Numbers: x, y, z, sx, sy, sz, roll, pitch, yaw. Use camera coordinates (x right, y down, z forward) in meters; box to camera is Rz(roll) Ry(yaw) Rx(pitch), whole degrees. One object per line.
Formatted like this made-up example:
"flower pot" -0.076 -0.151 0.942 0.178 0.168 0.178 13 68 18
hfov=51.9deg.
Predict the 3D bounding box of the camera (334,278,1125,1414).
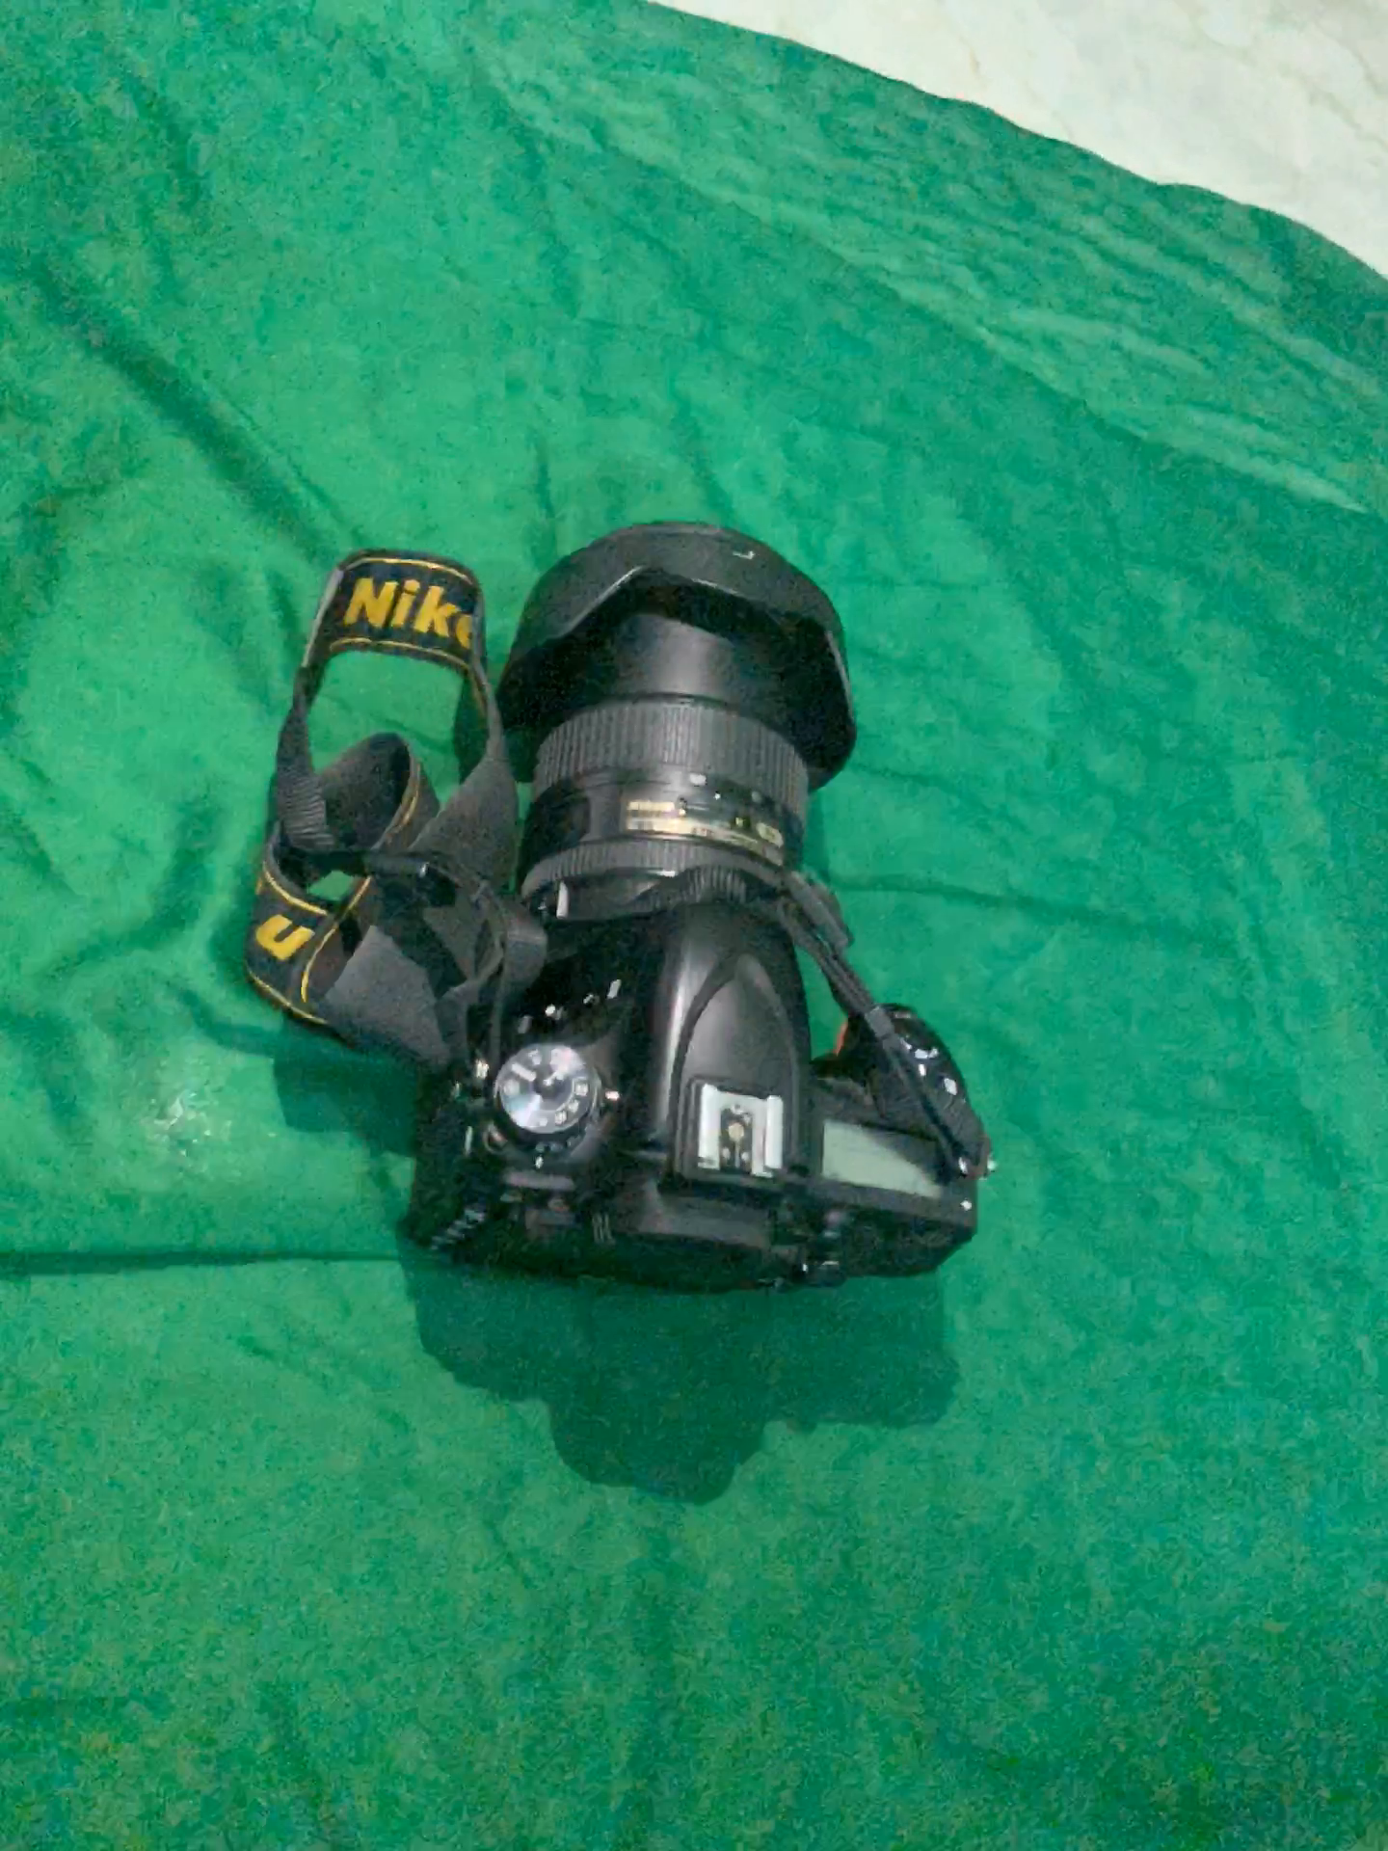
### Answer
"camera" 0.014 -0.025 0.420 0.170 0.100 0.290 14 60 -16
